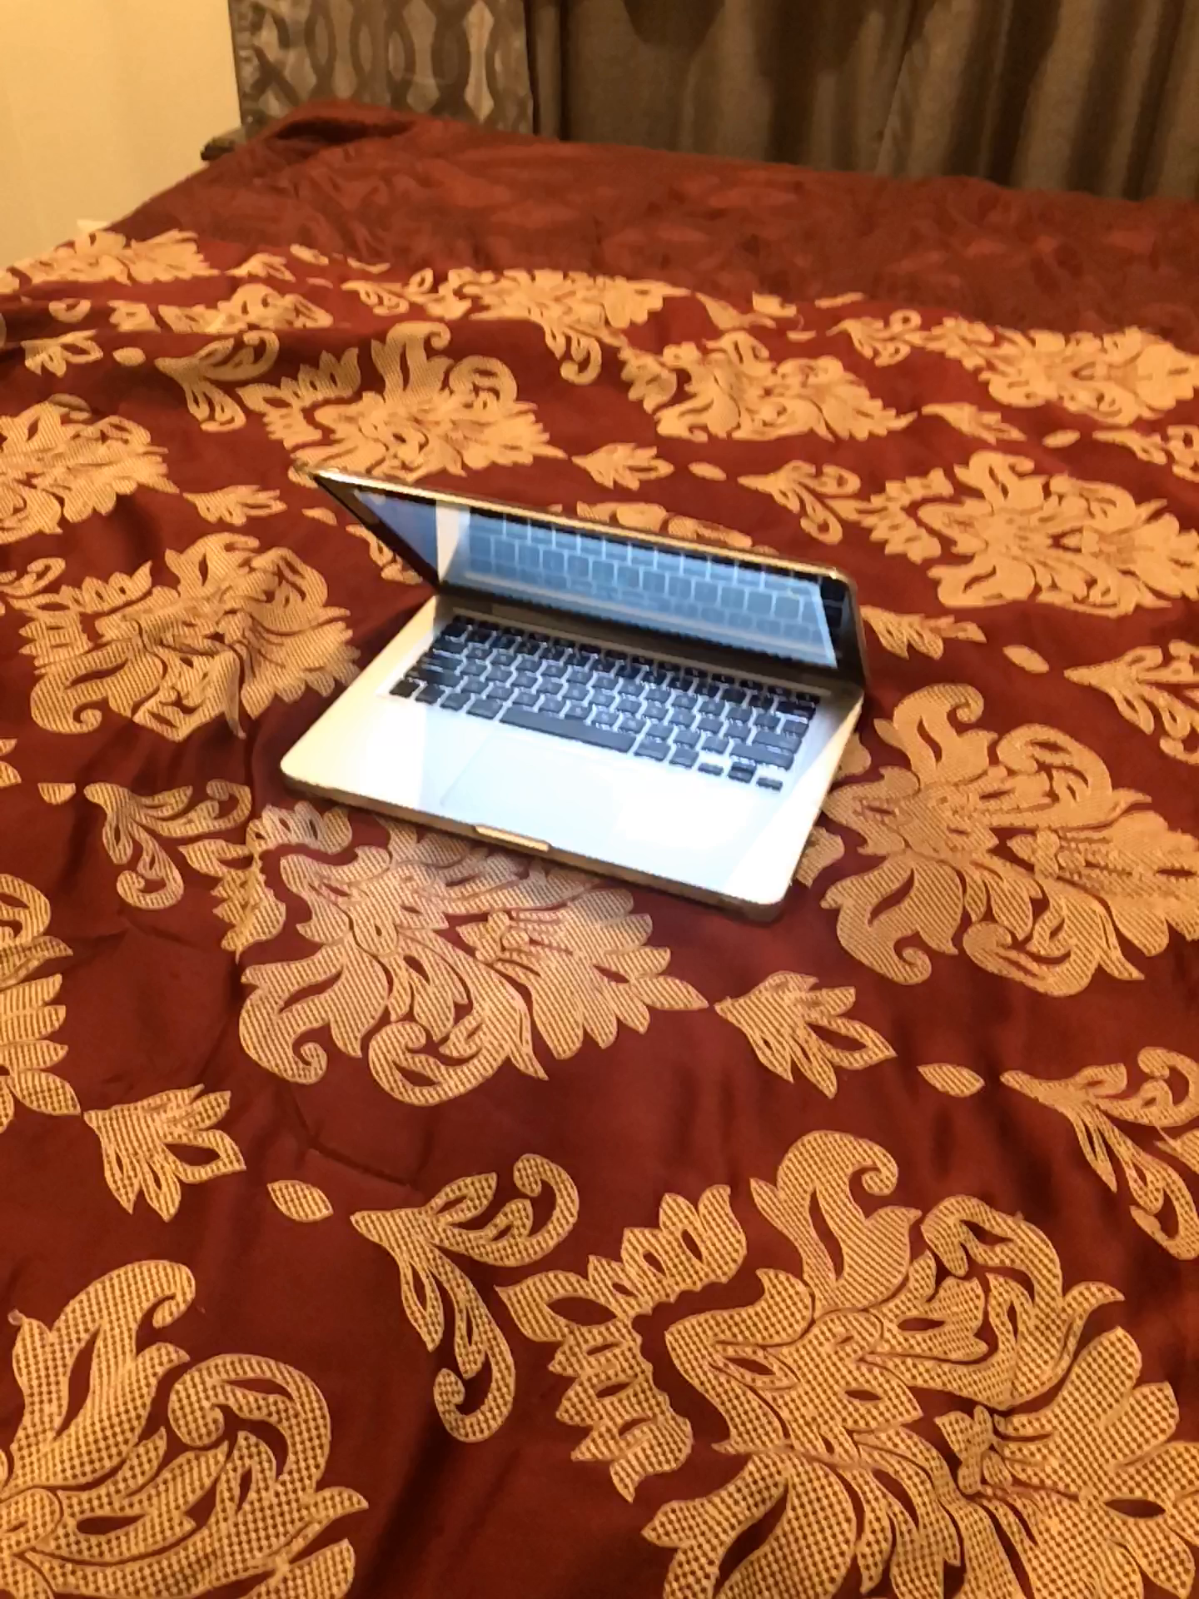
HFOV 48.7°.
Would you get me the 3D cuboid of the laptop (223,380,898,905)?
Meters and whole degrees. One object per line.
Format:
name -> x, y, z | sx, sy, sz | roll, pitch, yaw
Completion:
laptop -> -0.012, -0.105, 0.778 | 0.312, 0.156, 0.212 | 14, 42, 15
